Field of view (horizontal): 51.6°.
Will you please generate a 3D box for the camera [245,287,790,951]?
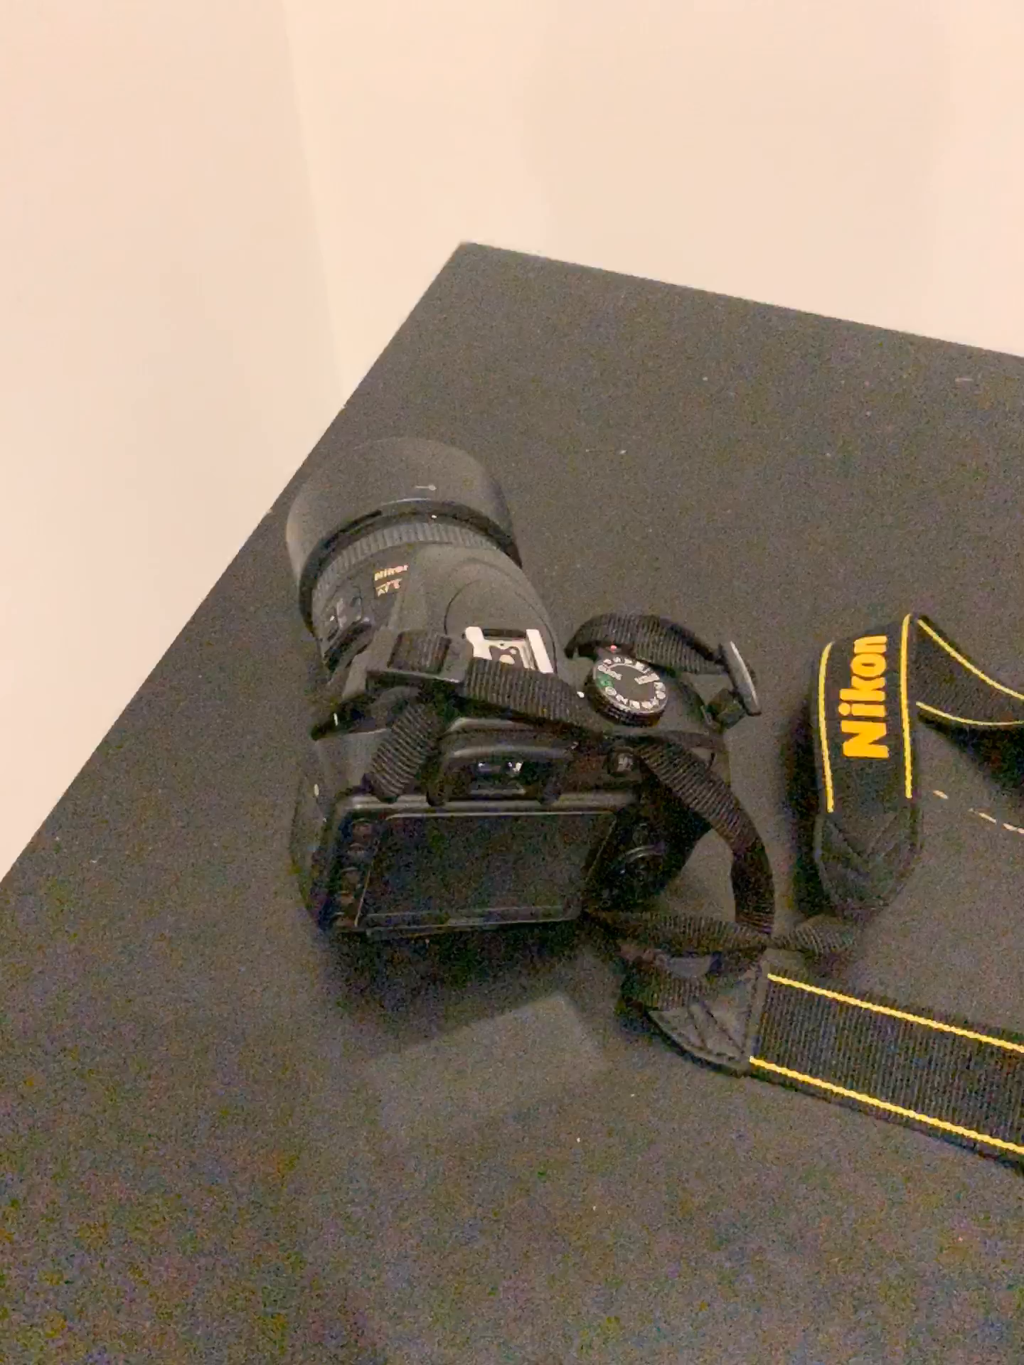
[{"bbox_3d":[-0.019,-0.033,0.361,0.116,0.089,0.221,2,44,-21],"label":"camera"}]
